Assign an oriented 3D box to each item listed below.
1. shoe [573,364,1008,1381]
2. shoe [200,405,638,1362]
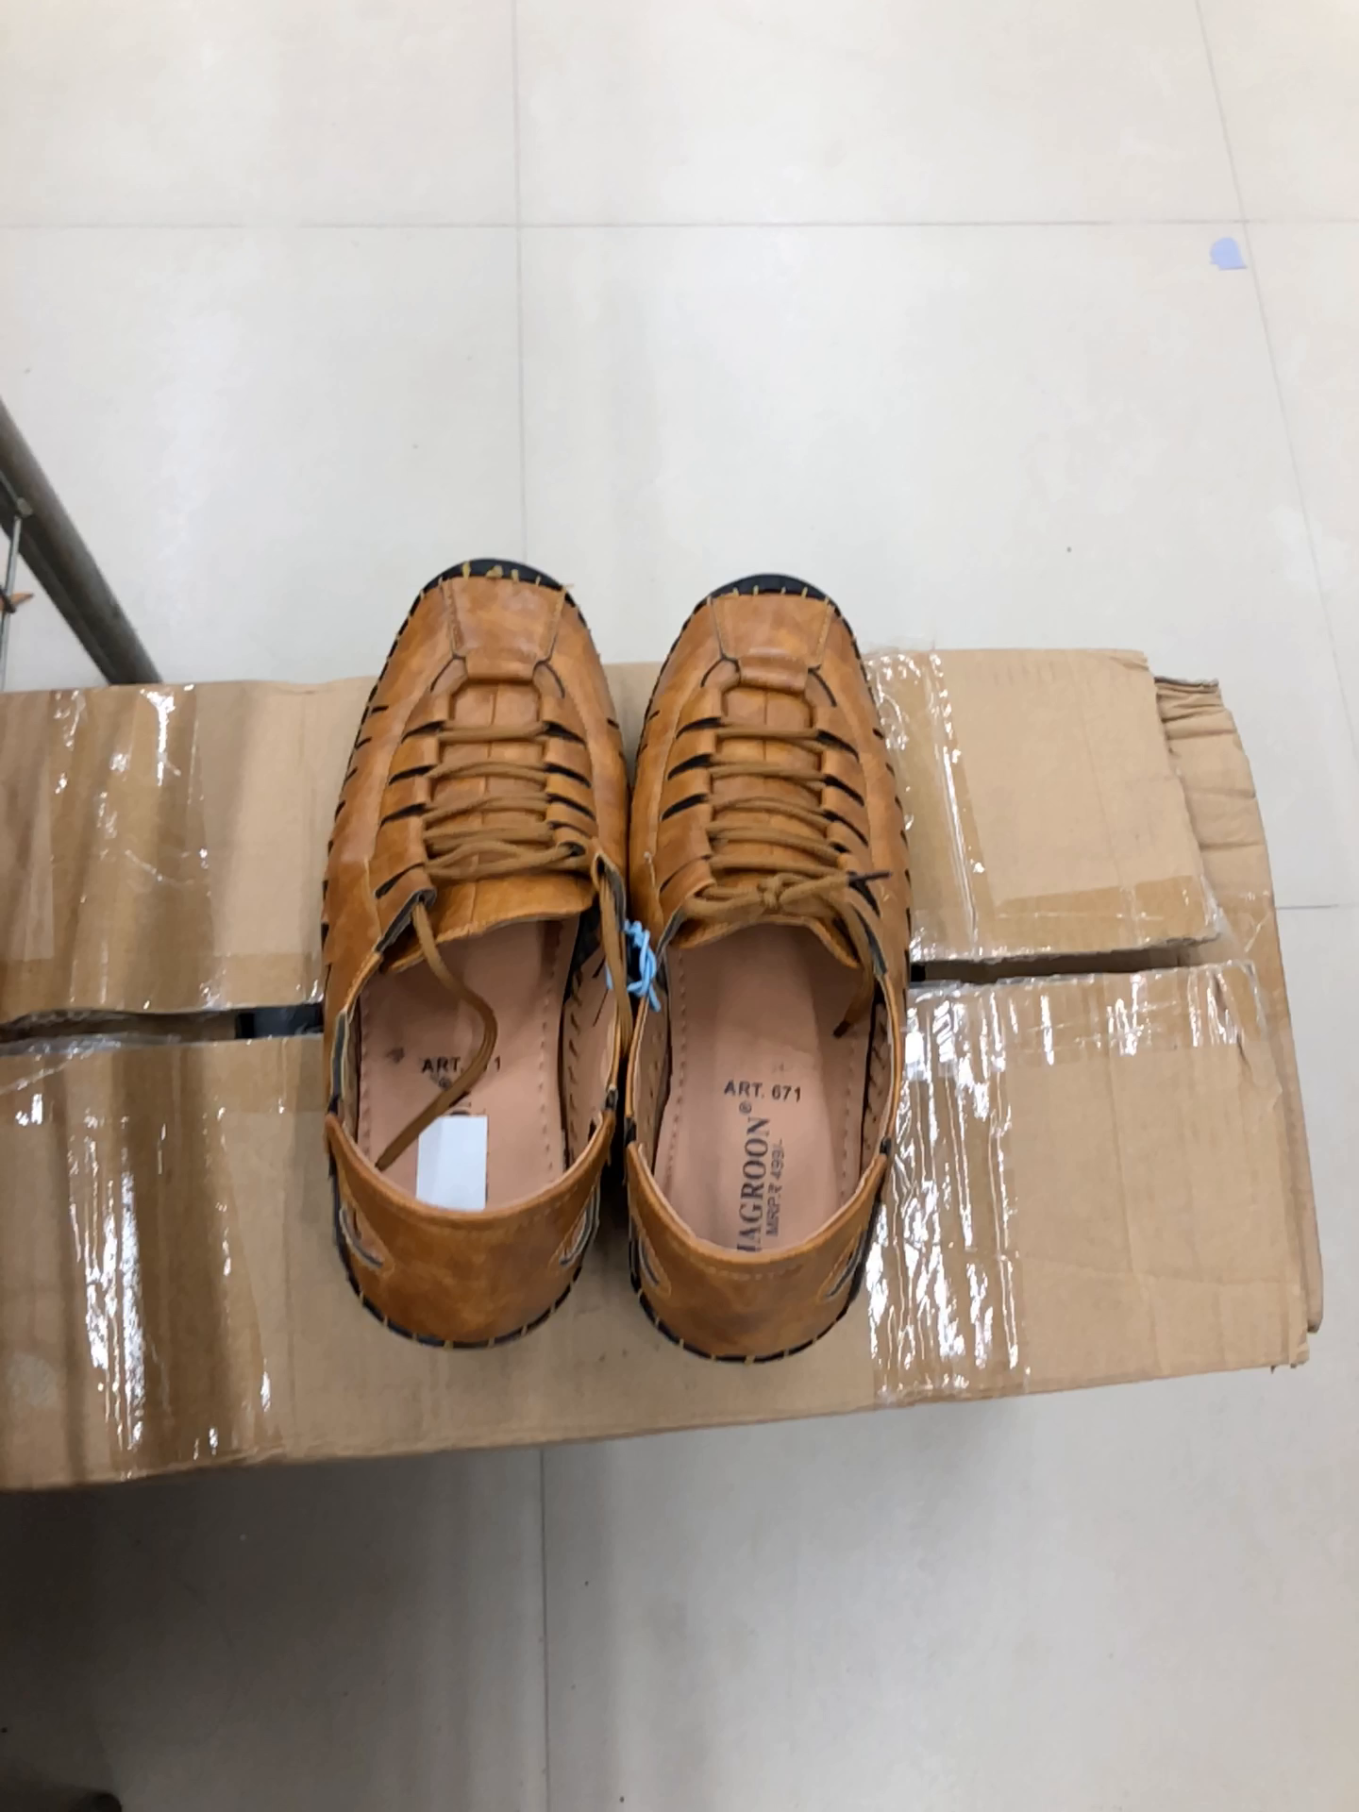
[{"bbox_3d":[0.032,-0.008,0.484,0.110,0.120,0.301,3,71,-2],"label":"shoe"},{"bbox_3d":[-0.071,-0.004,0.493,0.110,0.120,0.291,1,71,-2],"label":"shoe"}]
